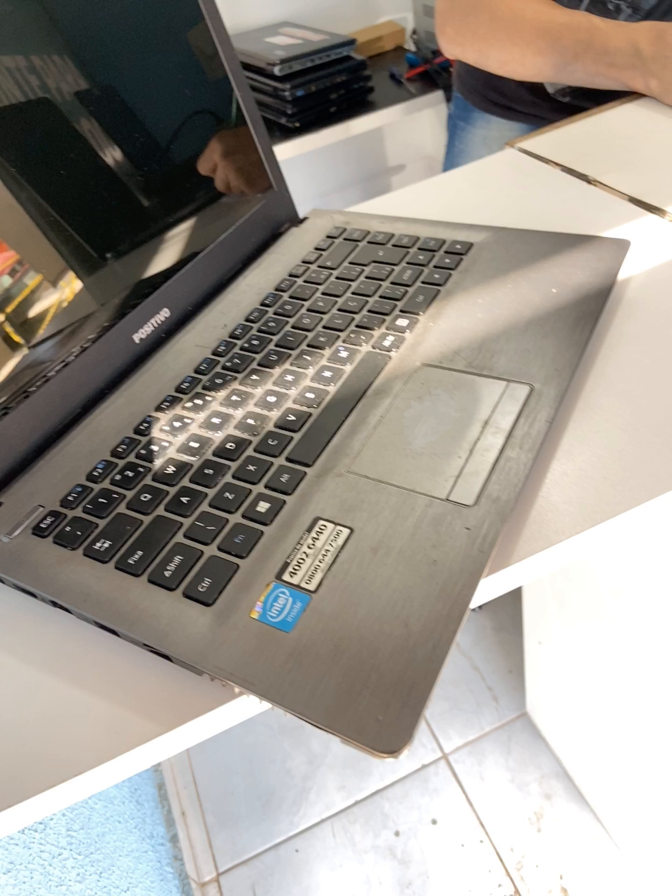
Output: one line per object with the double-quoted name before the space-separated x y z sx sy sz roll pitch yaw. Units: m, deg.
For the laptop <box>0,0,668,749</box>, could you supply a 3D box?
"laptop" -0.048 -0.124 0.310 0.283 0.211 0.336 14 49 27
